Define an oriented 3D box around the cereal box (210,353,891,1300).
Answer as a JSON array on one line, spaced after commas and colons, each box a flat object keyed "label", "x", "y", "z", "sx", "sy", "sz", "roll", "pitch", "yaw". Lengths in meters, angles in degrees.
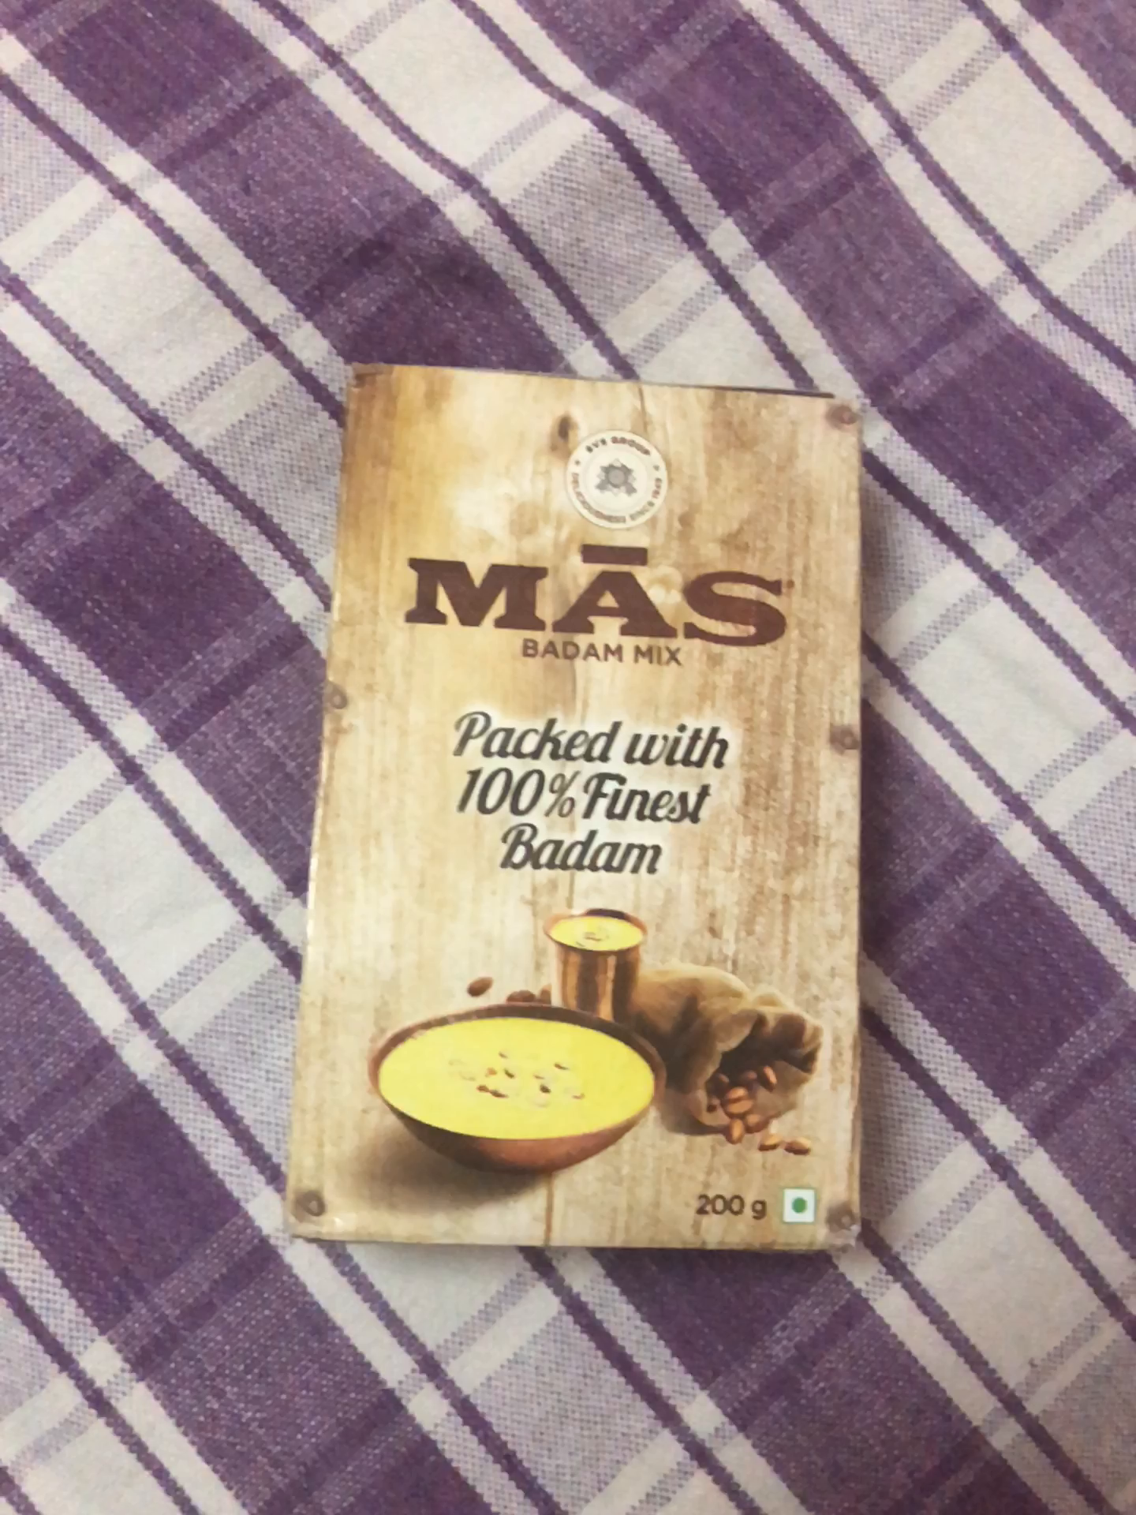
[{"label": "cereal box", "x": 0.000, "y": 0.009, "z": 0.195, "sx": 0.090, "sy": 0.030, "sz": 0.130, "roll": 3, "pitch": 81, "yaw": -3}]
